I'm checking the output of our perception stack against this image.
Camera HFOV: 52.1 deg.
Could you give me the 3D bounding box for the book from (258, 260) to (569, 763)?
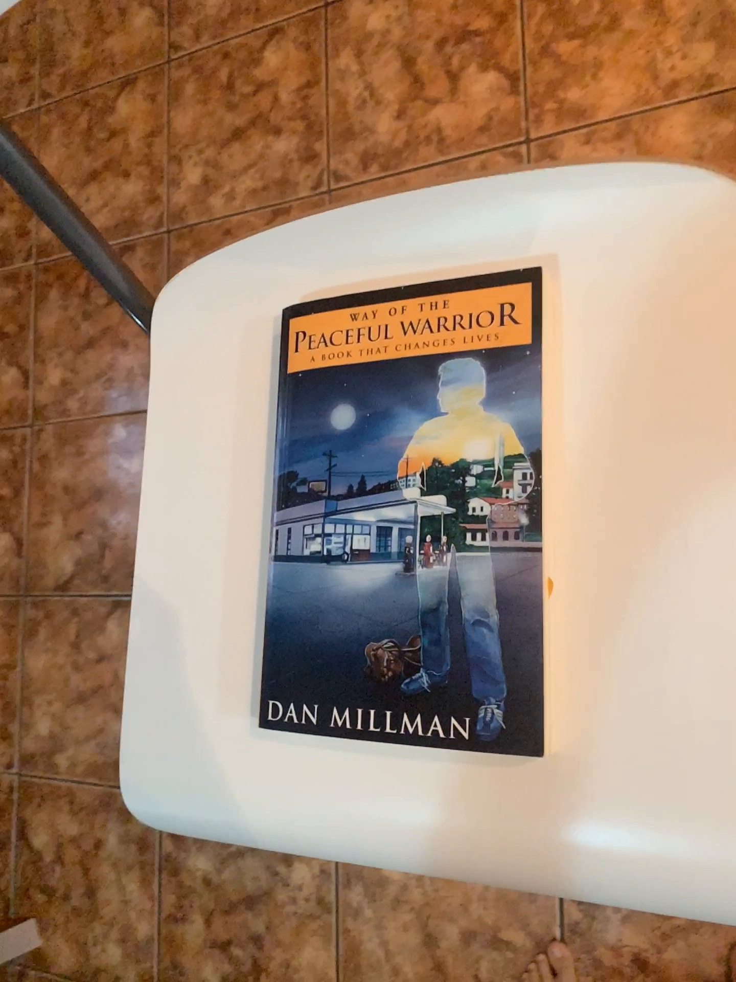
[{"bbox_3d":[0.020,0.009,0.362,0.141,0.039,0.210,-2,84,26],"label":"book"}]
